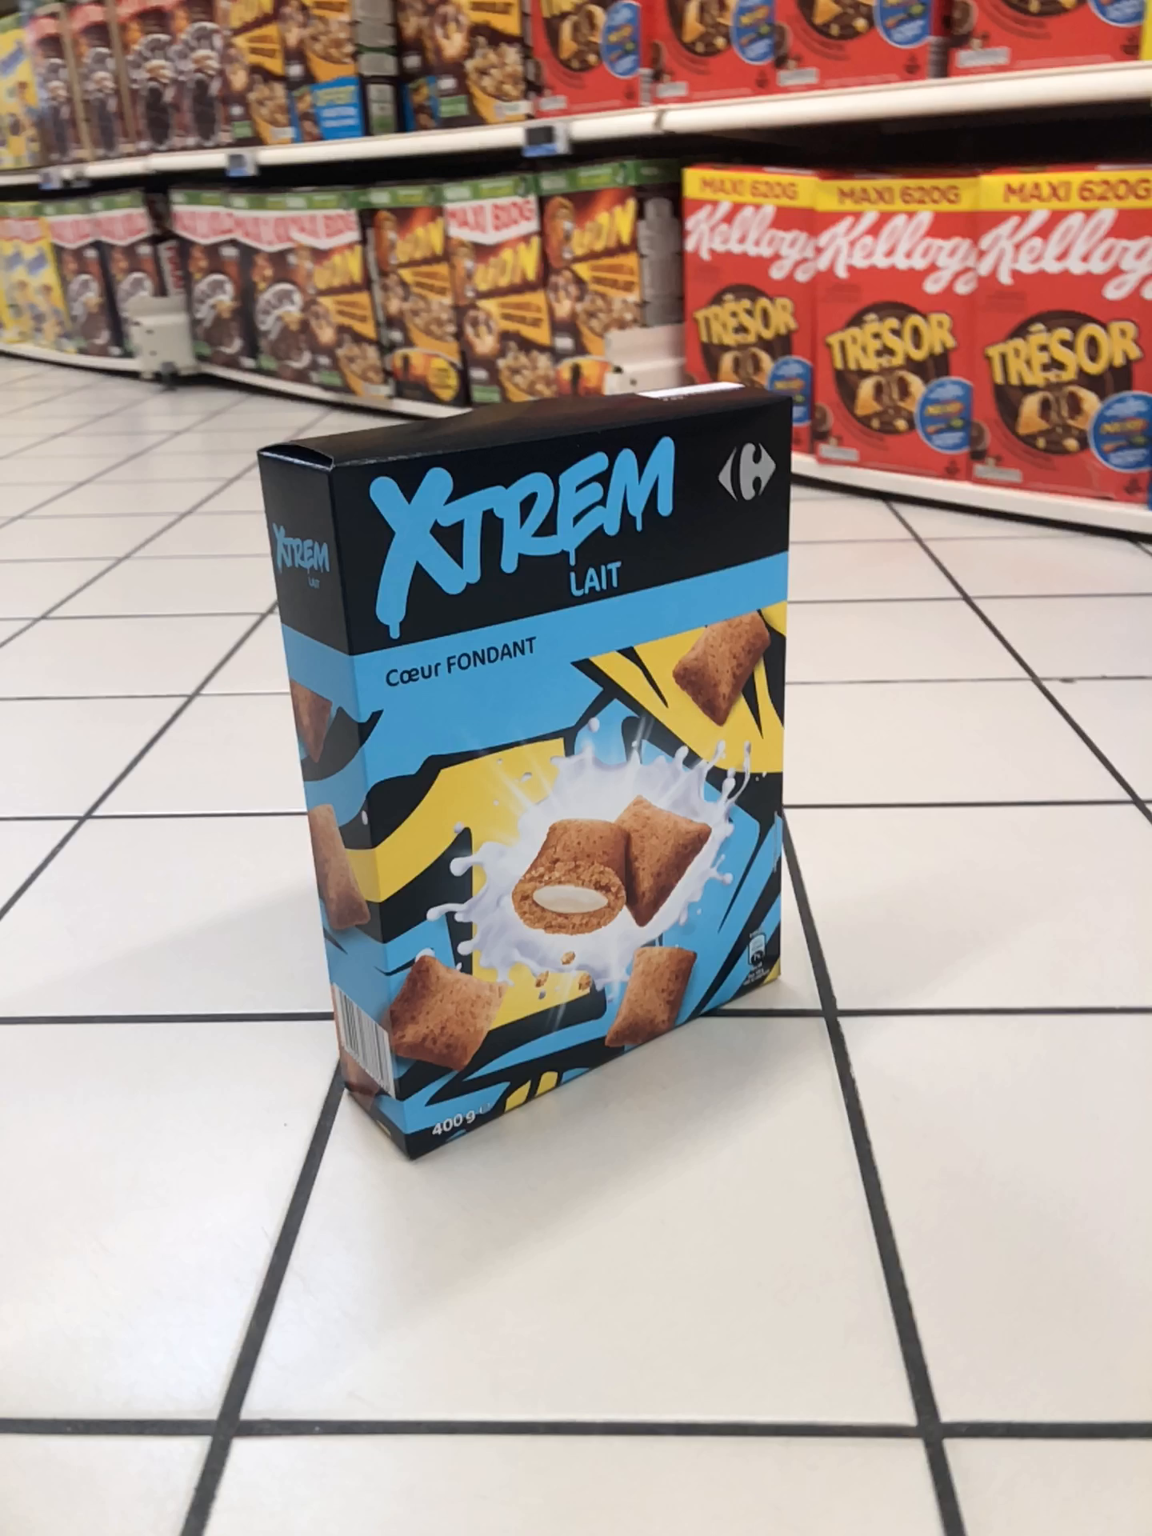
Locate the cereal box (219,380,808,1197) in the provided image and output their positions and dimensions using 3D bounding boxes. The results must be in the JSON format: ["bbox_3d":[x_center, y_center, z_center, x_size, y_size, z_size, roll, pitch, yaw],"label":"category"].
[{"bbox_3d":[-0.009,-0.001,0.481,0.201,0.259,0.060,-18,28,-32],"label":"cereal box"}]
